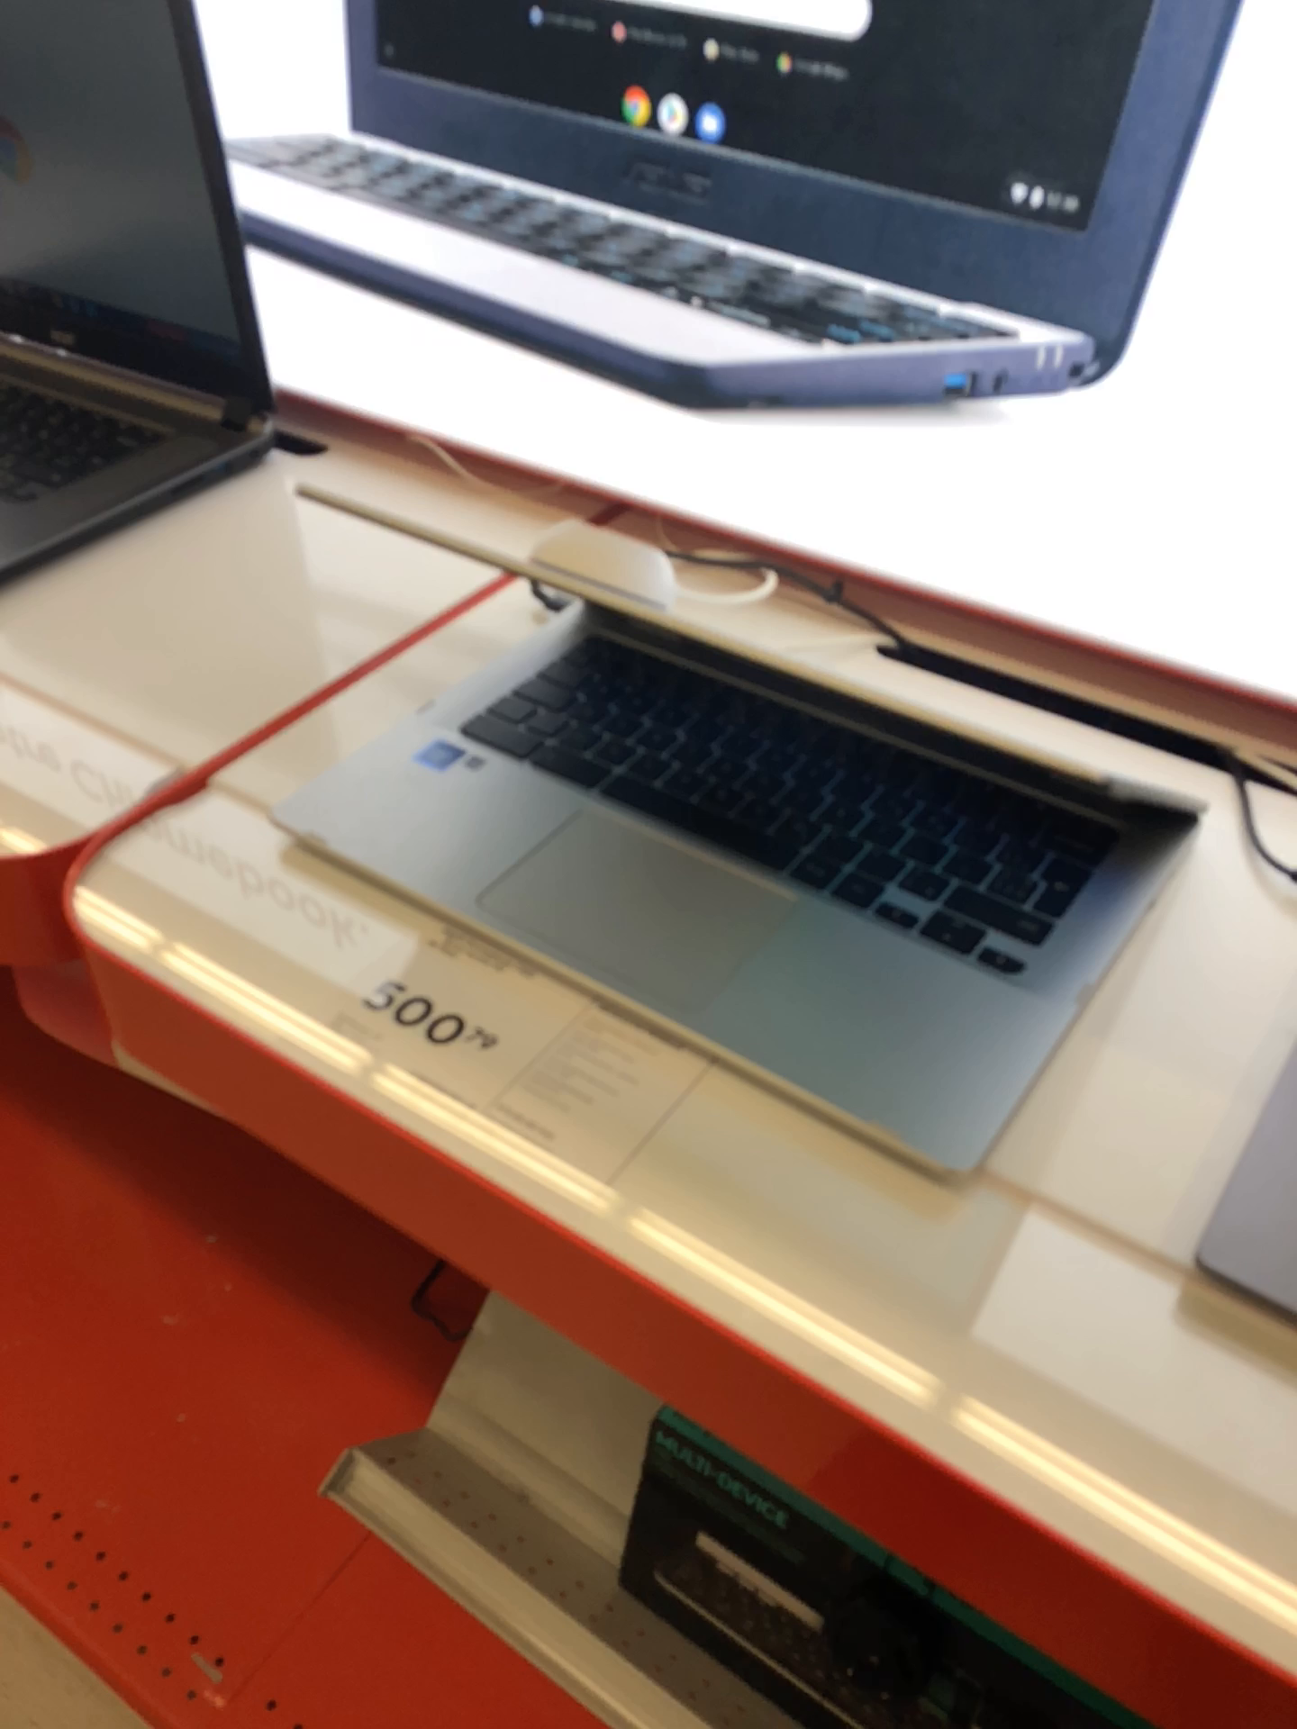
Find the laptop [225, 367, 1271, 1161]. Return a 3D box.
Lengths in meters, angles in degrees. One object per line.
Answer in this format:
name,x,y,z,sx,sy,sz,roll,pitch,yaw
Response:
laptop,0.035,-0.066,0.546,0.312,0.119,0.213,24,46,26
